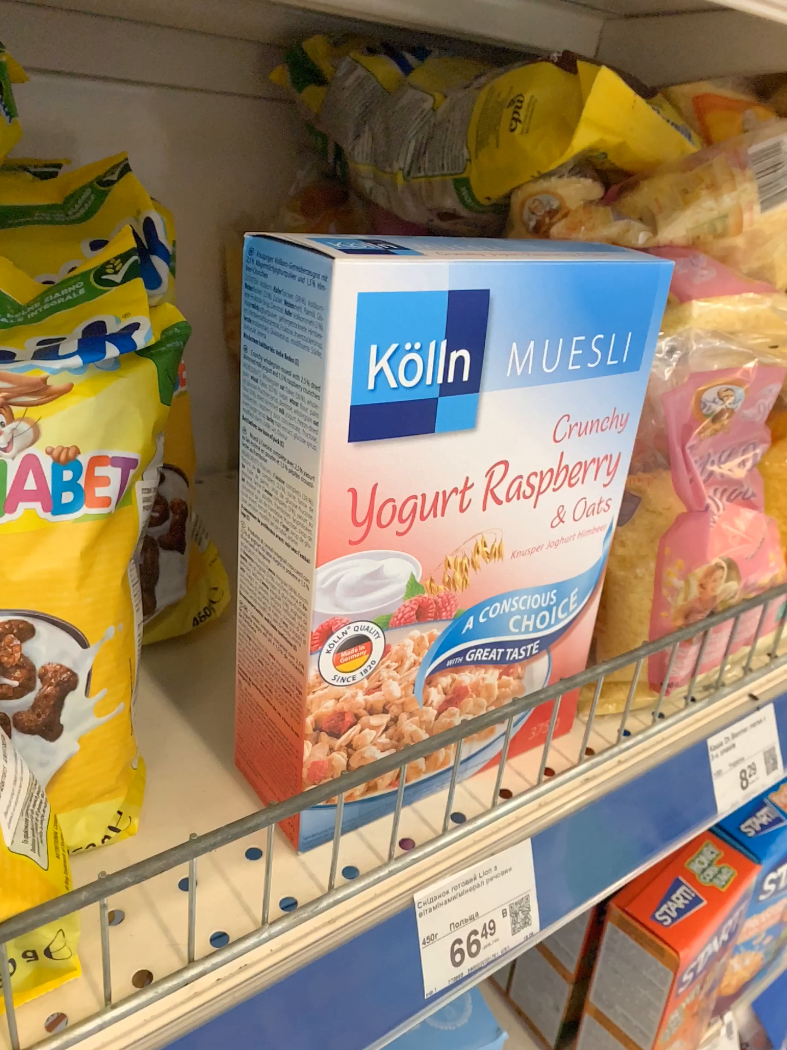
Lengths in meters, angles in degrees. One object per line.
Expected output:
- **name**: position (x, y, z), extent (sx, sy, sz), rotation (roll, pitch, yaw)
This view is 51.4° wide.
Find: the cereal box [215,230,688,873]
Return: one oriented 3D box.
- **cereal box**: position (0.015, 0.004, 0.310), extent (0.150, 0.208, 0.060), rotation (-12, 30, -33)
